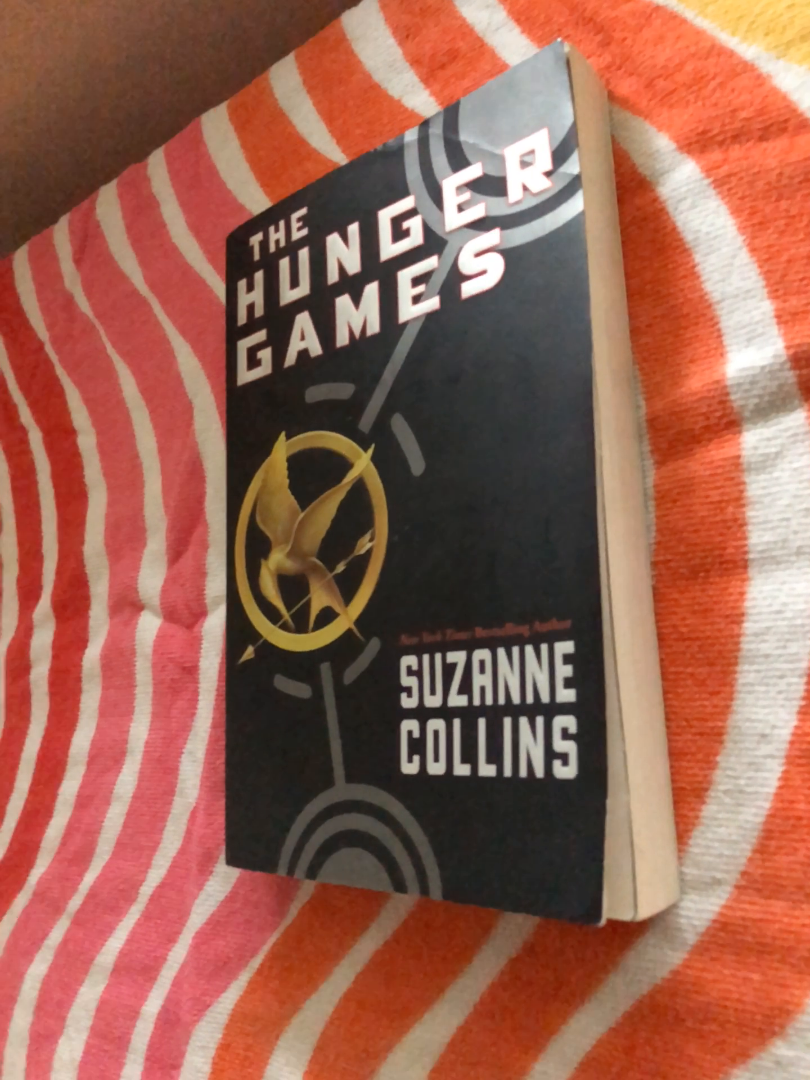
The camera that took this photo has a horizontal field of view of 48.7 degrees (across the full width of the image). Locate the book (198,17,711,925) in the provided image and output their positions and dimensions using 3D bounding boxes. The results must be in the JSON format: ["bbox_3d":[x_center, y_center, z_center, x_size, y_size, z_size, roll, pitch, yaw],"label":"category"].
[{"bbox_3d":[0.001,-0.012,0.249,0.138,0.037,0.200,-11,76,40],"label":"book"}]
